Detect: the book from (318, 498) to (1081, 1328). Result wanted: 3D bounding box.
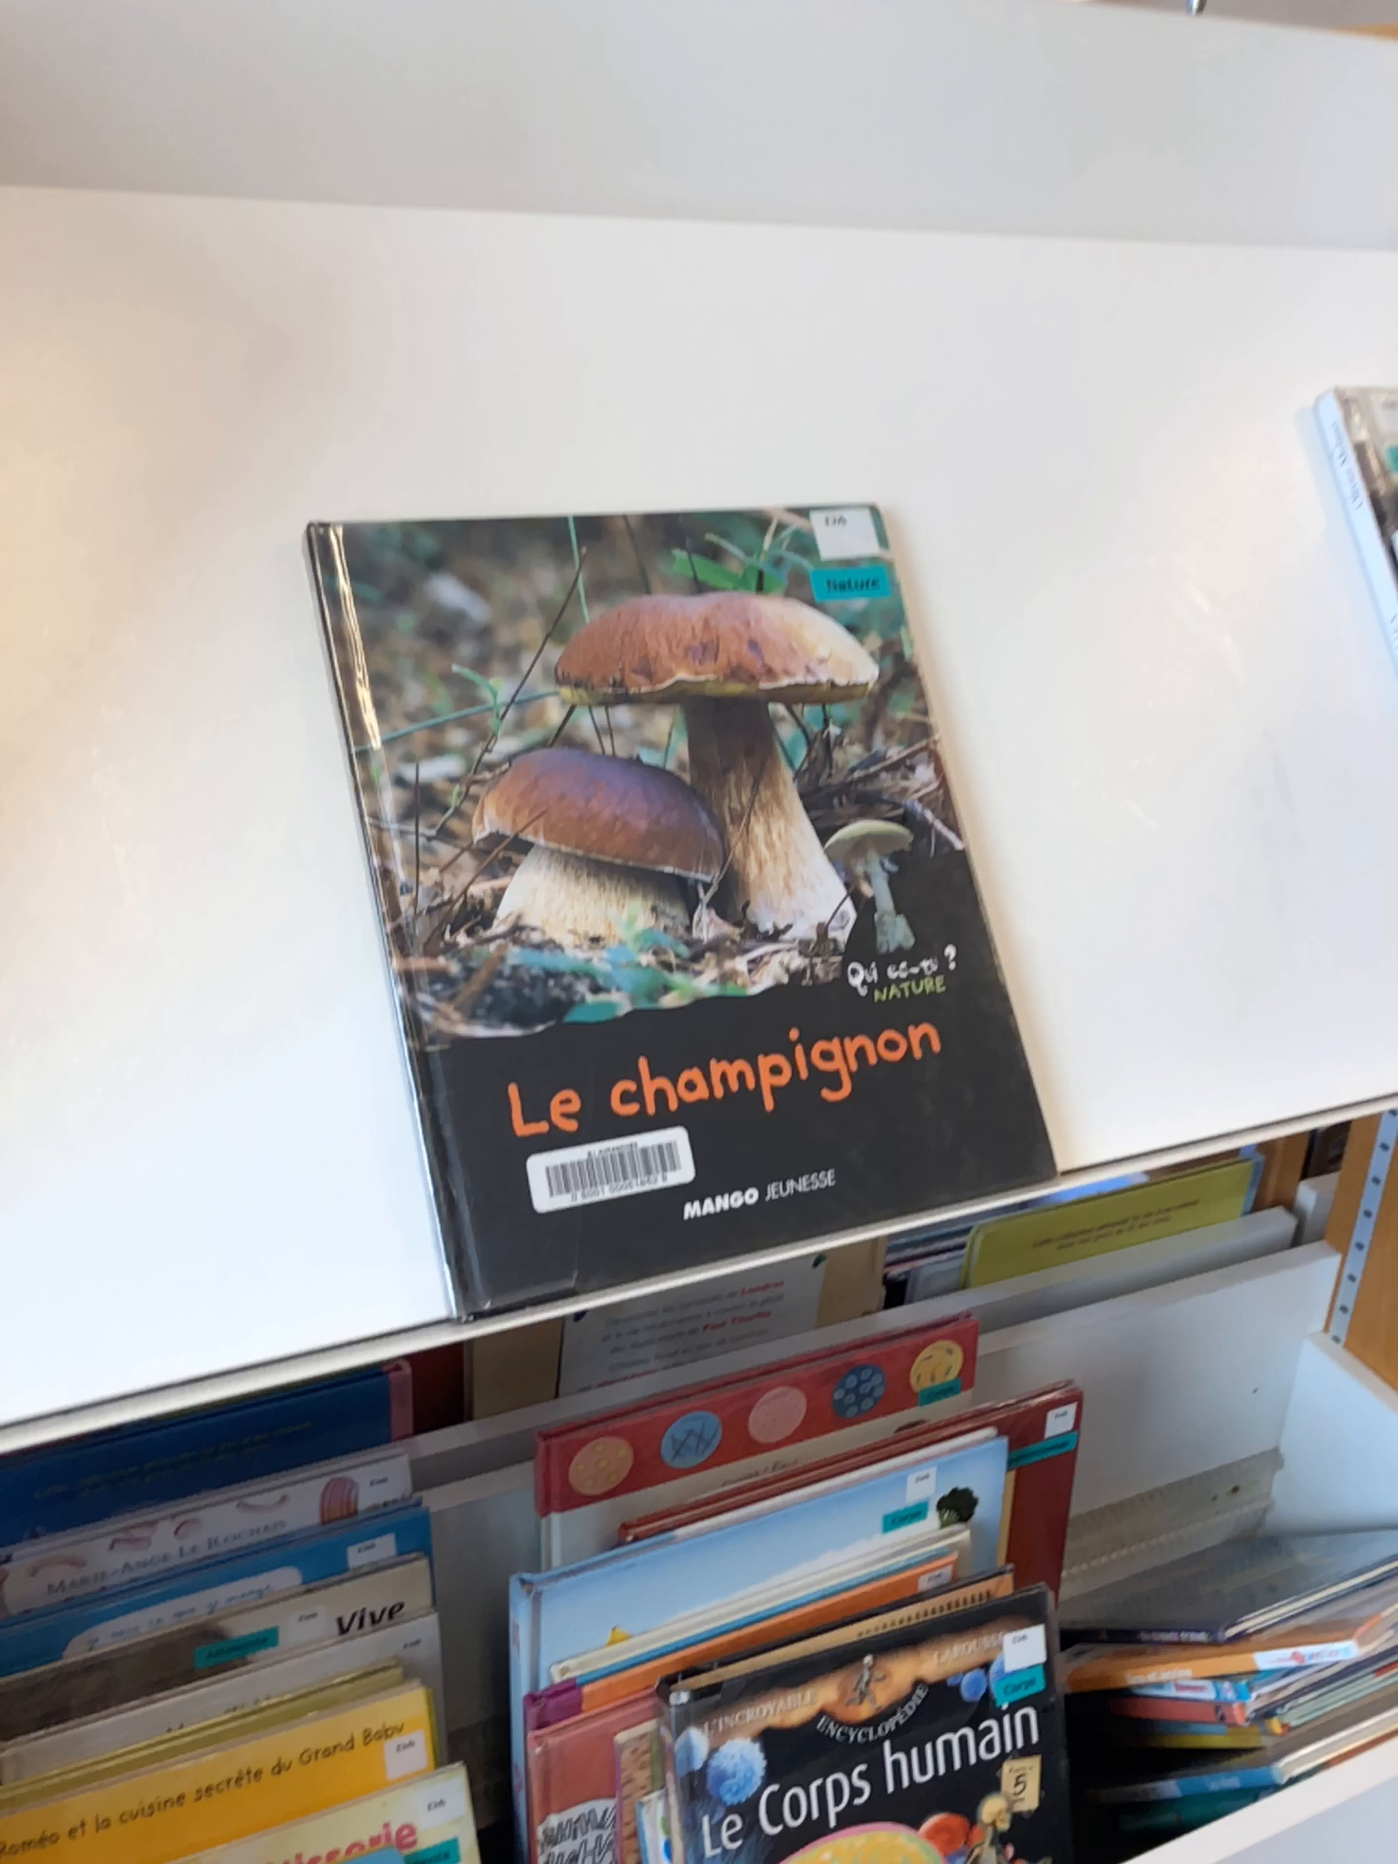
[{"bbox_3d":[0.003,-0.020,0.492,0.203,0.242,0.020,-9,-11,-23],"label":"book"}]
